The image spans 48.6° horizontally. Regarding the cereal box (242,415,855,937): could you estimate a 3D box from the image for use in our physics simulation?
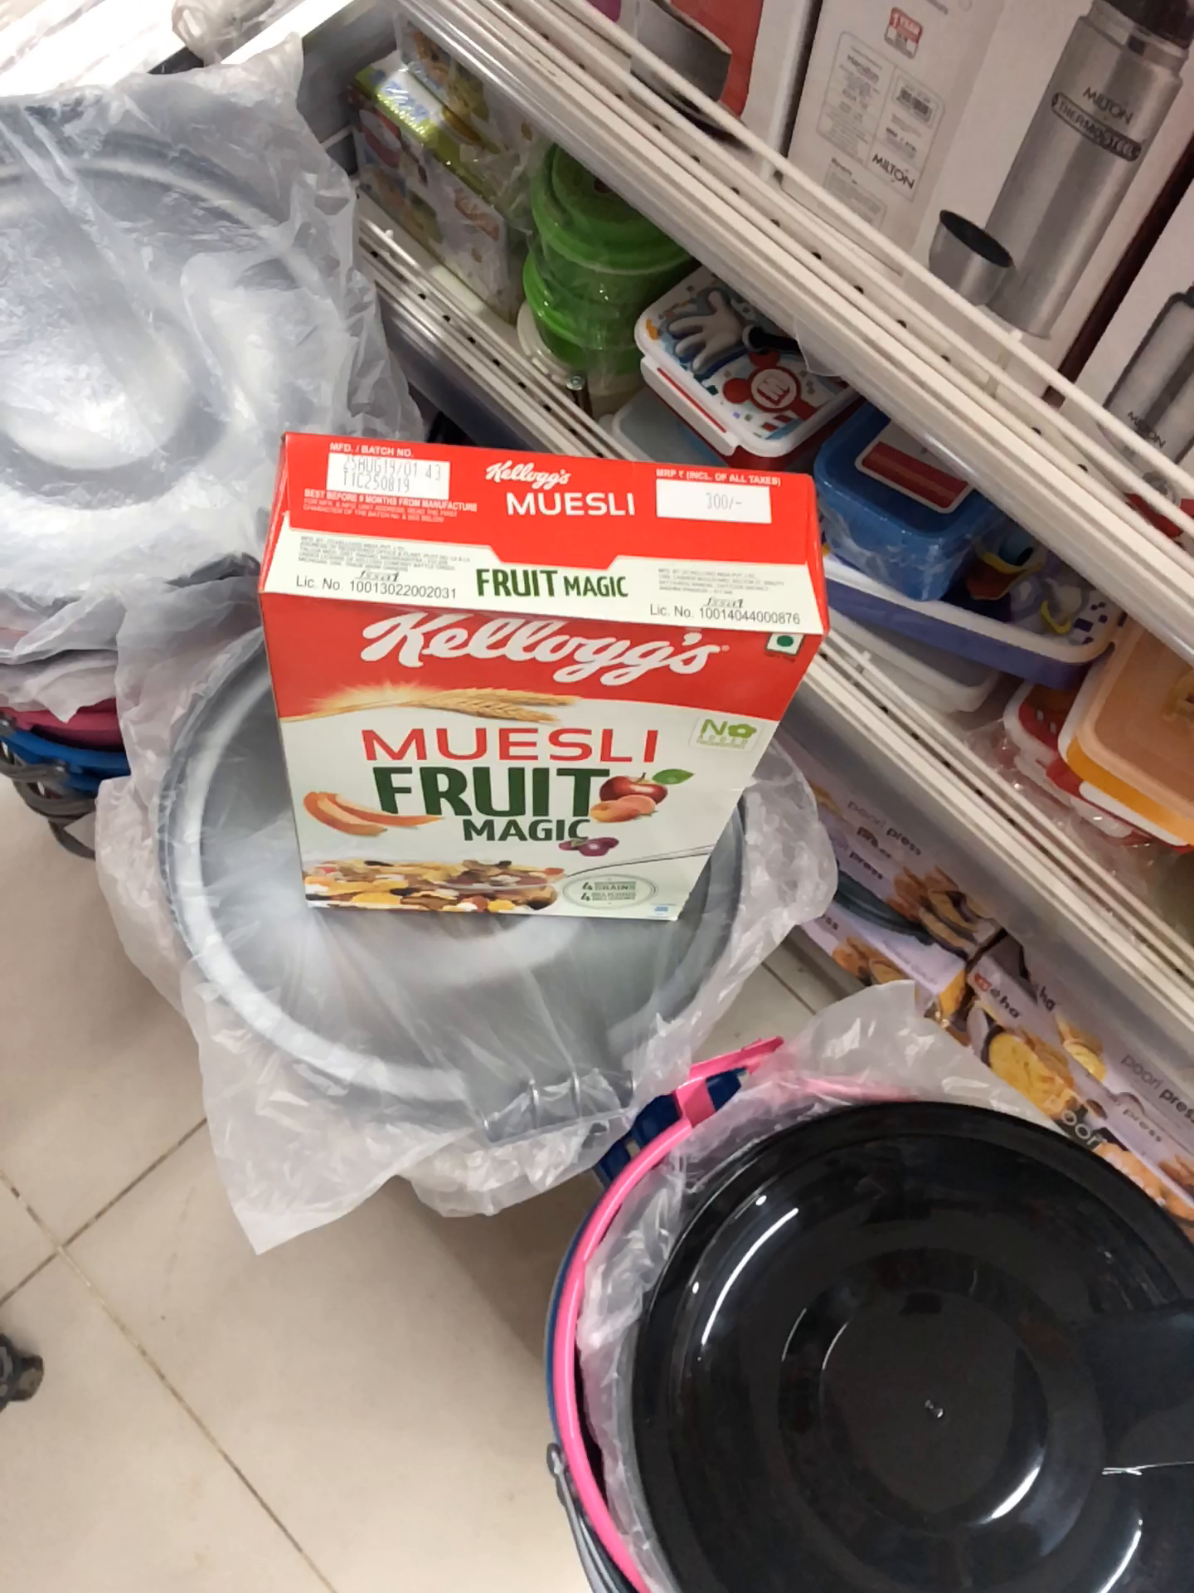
[{"bbox_3d":[-0.028,-0.028,0.533,0.190,0.250,0.070,4,62,-6],"label":"cereal box"}]
